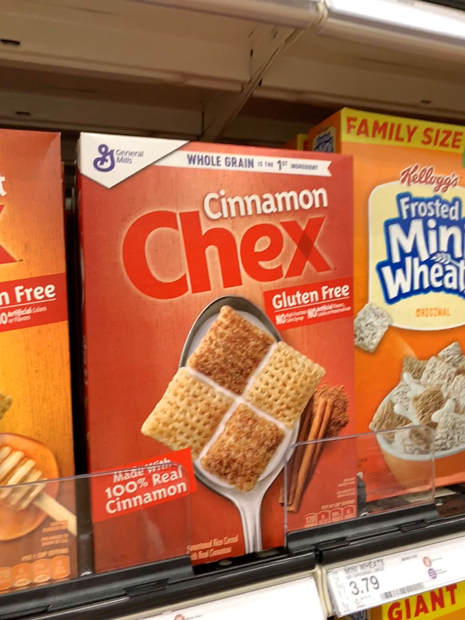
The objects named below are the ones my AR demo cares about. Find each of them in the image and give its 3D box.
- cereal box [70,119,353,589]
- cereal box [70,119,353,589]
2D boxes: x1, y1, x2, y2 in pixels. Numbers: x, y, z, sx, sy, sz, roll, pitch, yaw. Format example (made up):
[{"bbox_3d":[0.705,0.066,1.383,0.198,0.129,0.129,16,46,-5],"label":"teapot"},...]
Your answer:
[{"bbox_3d":[-0.013,0.026,0.369,0.200,0.300,0.060,-2,2,-20],"label":"cereal box"},{"bbox_3d":[-0.013,0.026,0.369,0.200,0.300,0.060,-2,2,-20],"label":"cereal box"}]
